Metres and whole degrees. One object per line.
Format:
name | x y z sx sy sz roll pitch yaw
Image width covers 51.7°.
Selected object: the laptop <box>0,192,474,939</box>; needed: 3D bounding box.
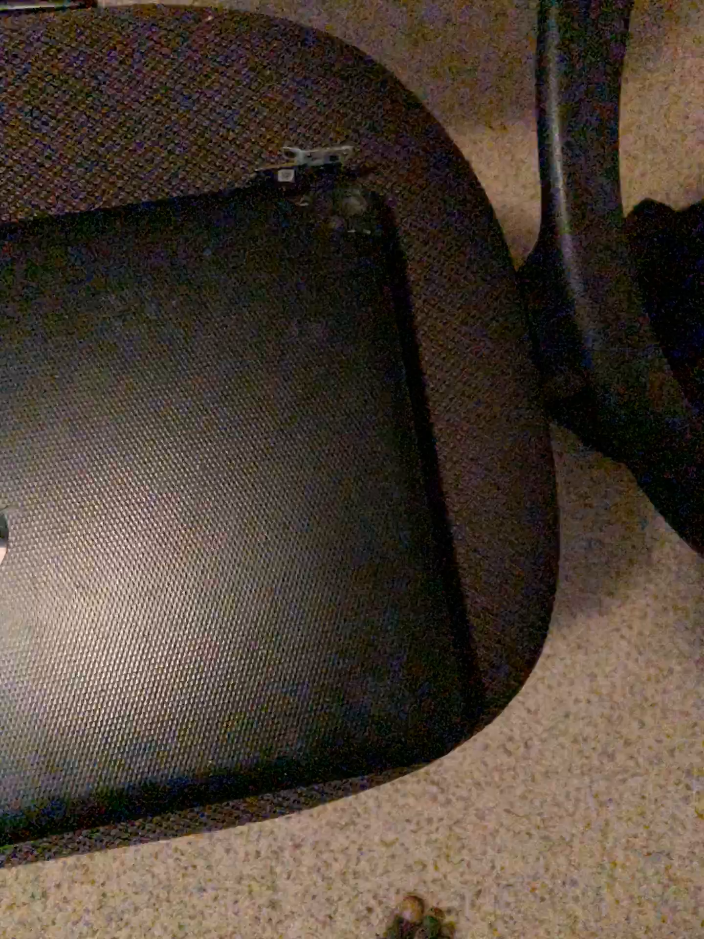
laptop | -0.153 0.024 0.309 0.378 0.018 0.244 -10 85 -8
